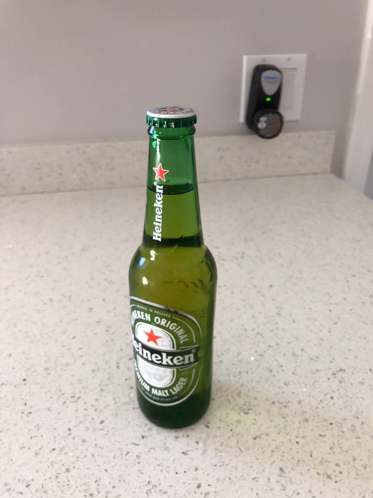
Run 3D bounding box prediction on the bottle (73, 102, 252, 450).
[{"bbox_3d":[-0.009,0.021,0.273,0.070,0.209,0.070,-1,29,0],"label":"bottle"}]
